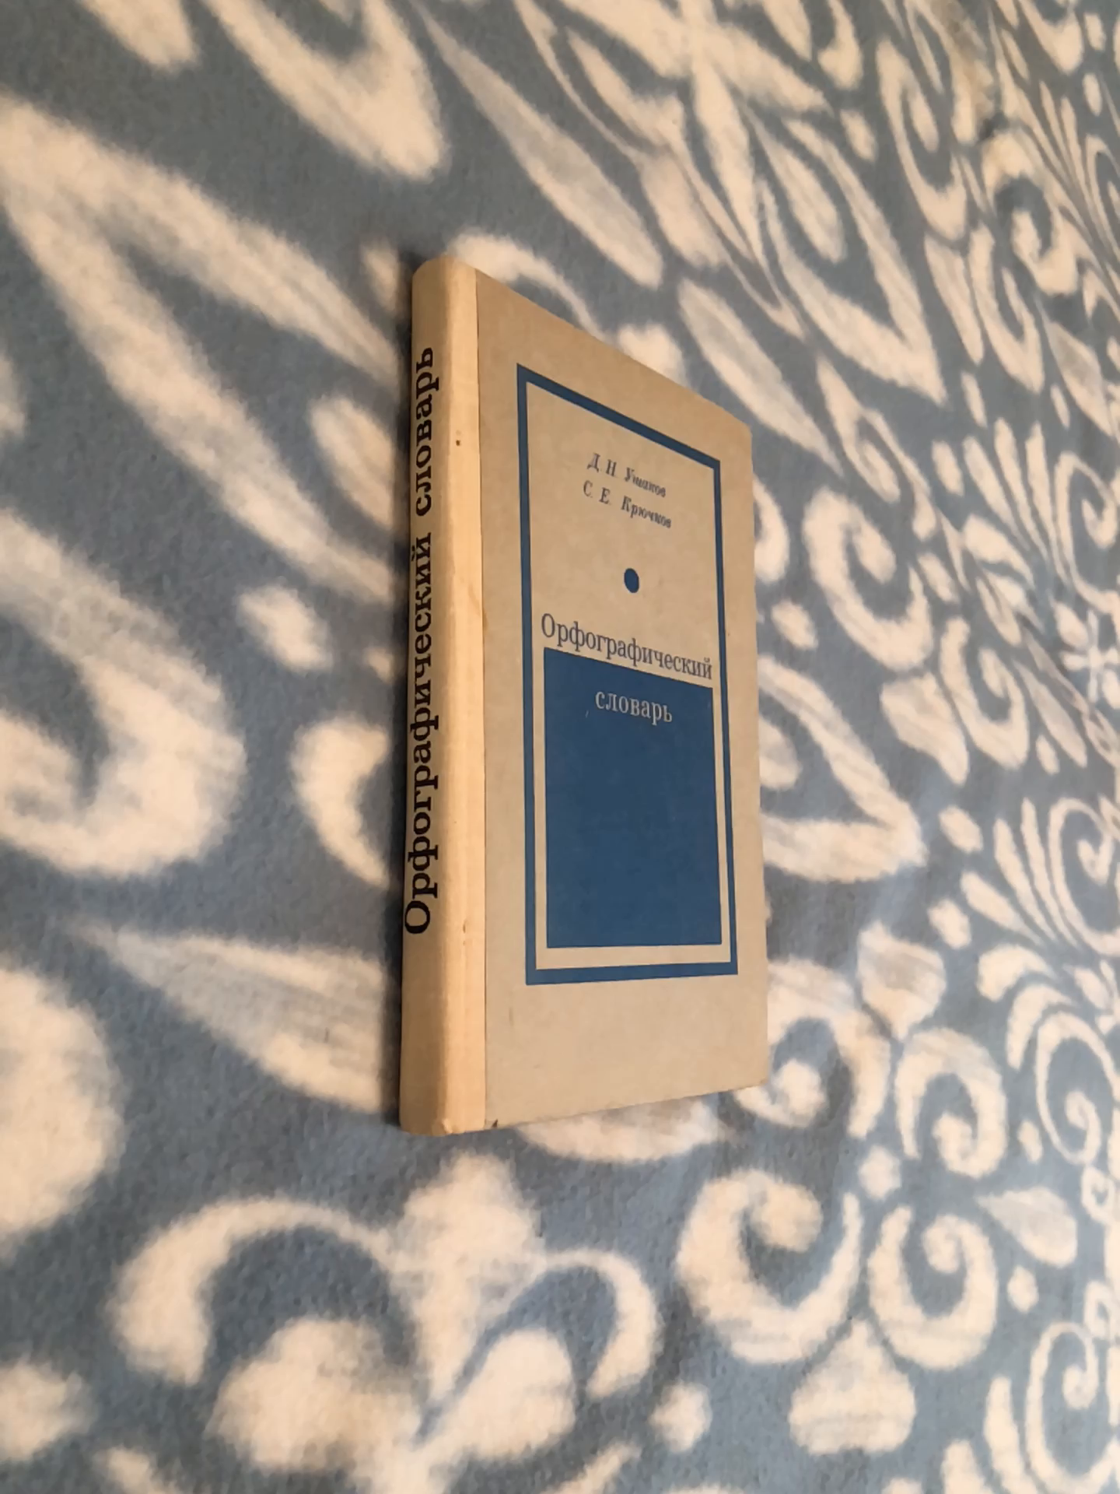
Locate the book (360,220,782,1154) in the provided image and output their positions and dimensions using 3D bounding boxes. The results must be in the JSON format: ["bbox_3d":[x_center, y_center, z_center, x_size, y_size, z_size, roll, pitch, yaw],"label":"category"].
[{"bbox_3d":[0.010,-0.010,0.330,0.137,0.022,0.210,11,75,-48],"label":"book"}]
